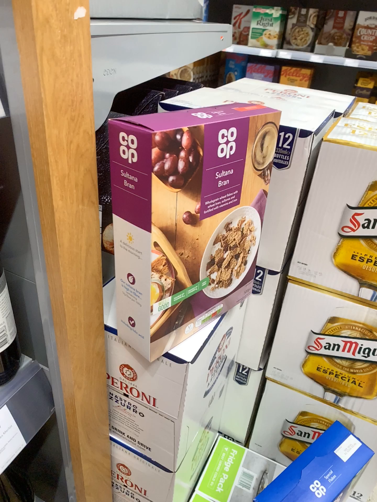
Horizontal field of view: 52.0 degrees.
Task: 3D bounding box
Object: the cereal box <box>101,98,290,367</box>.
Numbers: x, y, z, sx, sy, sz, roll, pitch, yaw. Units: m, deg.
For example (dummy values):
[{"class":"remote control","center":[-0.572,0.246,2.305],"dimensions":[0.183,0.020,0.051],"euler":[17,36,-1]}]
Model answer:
[{"class":"cereal box","center":[0.009,-0.028,0.452],"dimensions":[0.070,0.258,0.201],"euler":[29,39,35]}]
